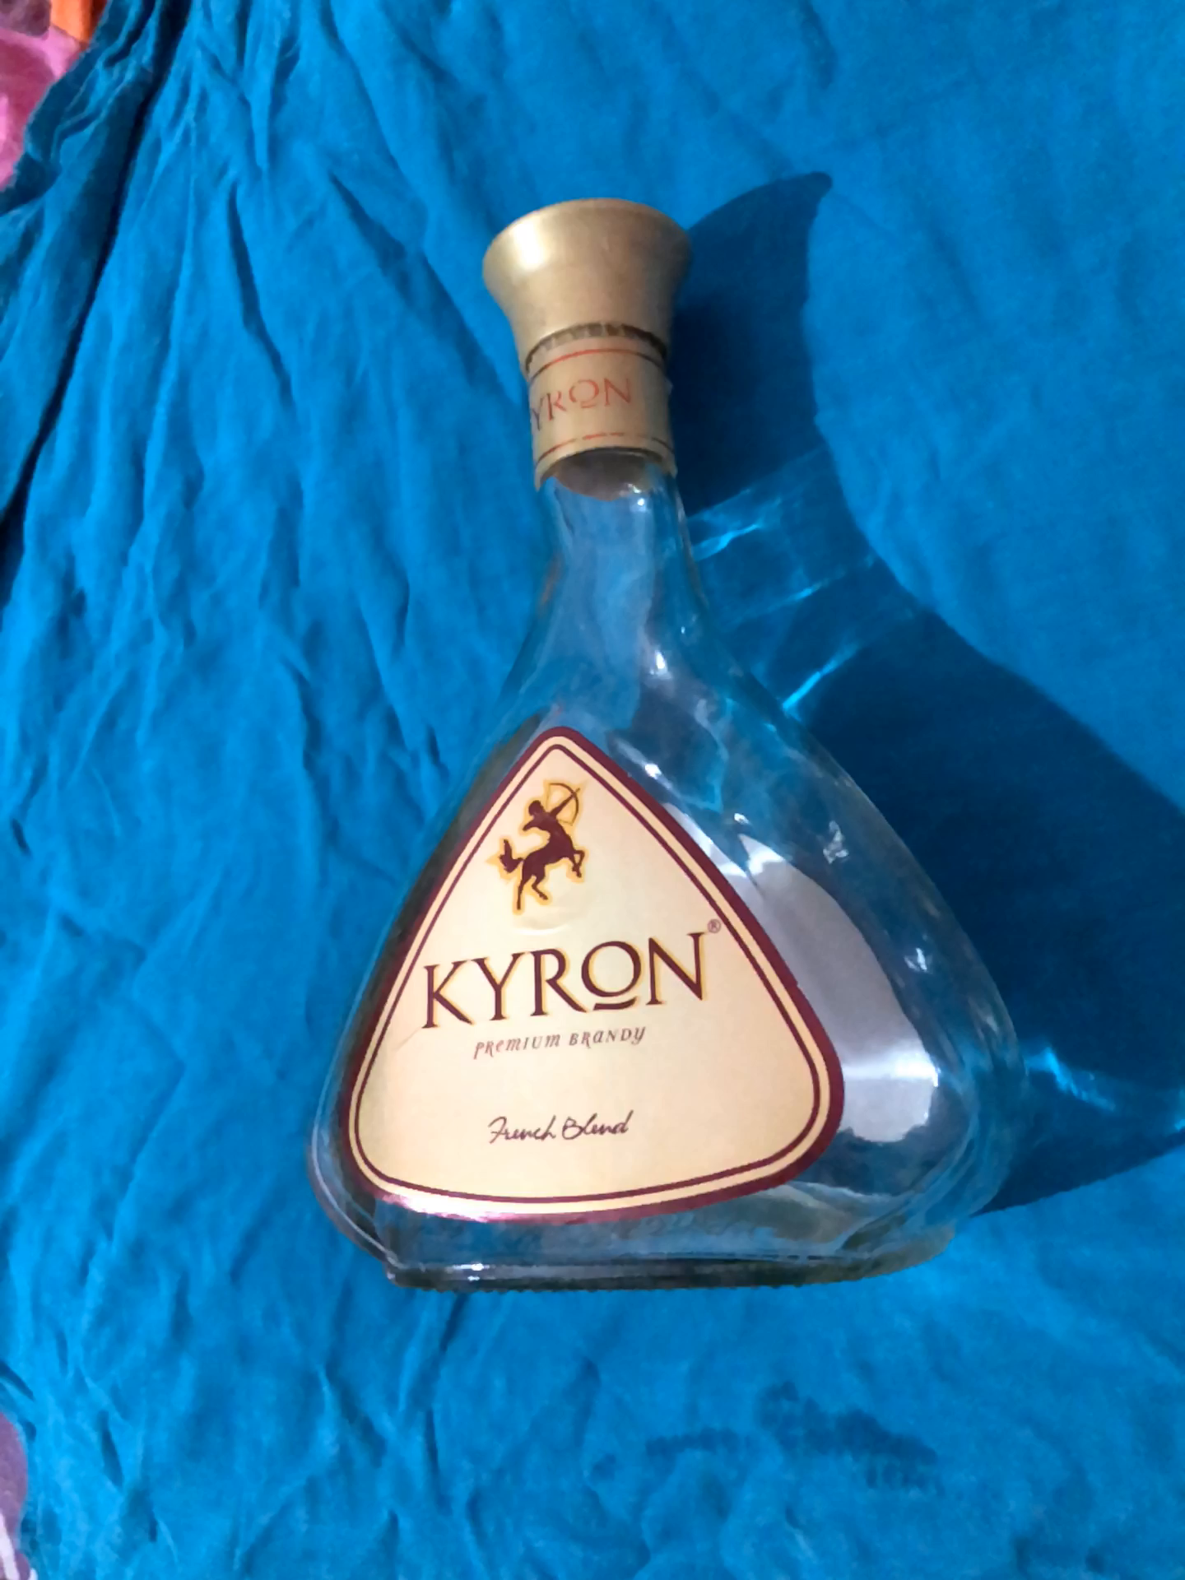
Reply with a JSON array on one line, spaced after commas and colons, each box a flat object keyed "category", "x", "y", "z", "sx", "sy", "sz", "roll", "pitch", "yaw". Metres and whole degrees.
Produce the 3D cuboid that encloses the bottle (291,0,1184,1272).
[{"category": "bottle", "x": 0.027, "y": -0.030, "z": 0.285, "sx": 0.150, "sy": 0.080, "sz": 0.240, "roll": -12, "pitch": 78, "yaw": 29}]
